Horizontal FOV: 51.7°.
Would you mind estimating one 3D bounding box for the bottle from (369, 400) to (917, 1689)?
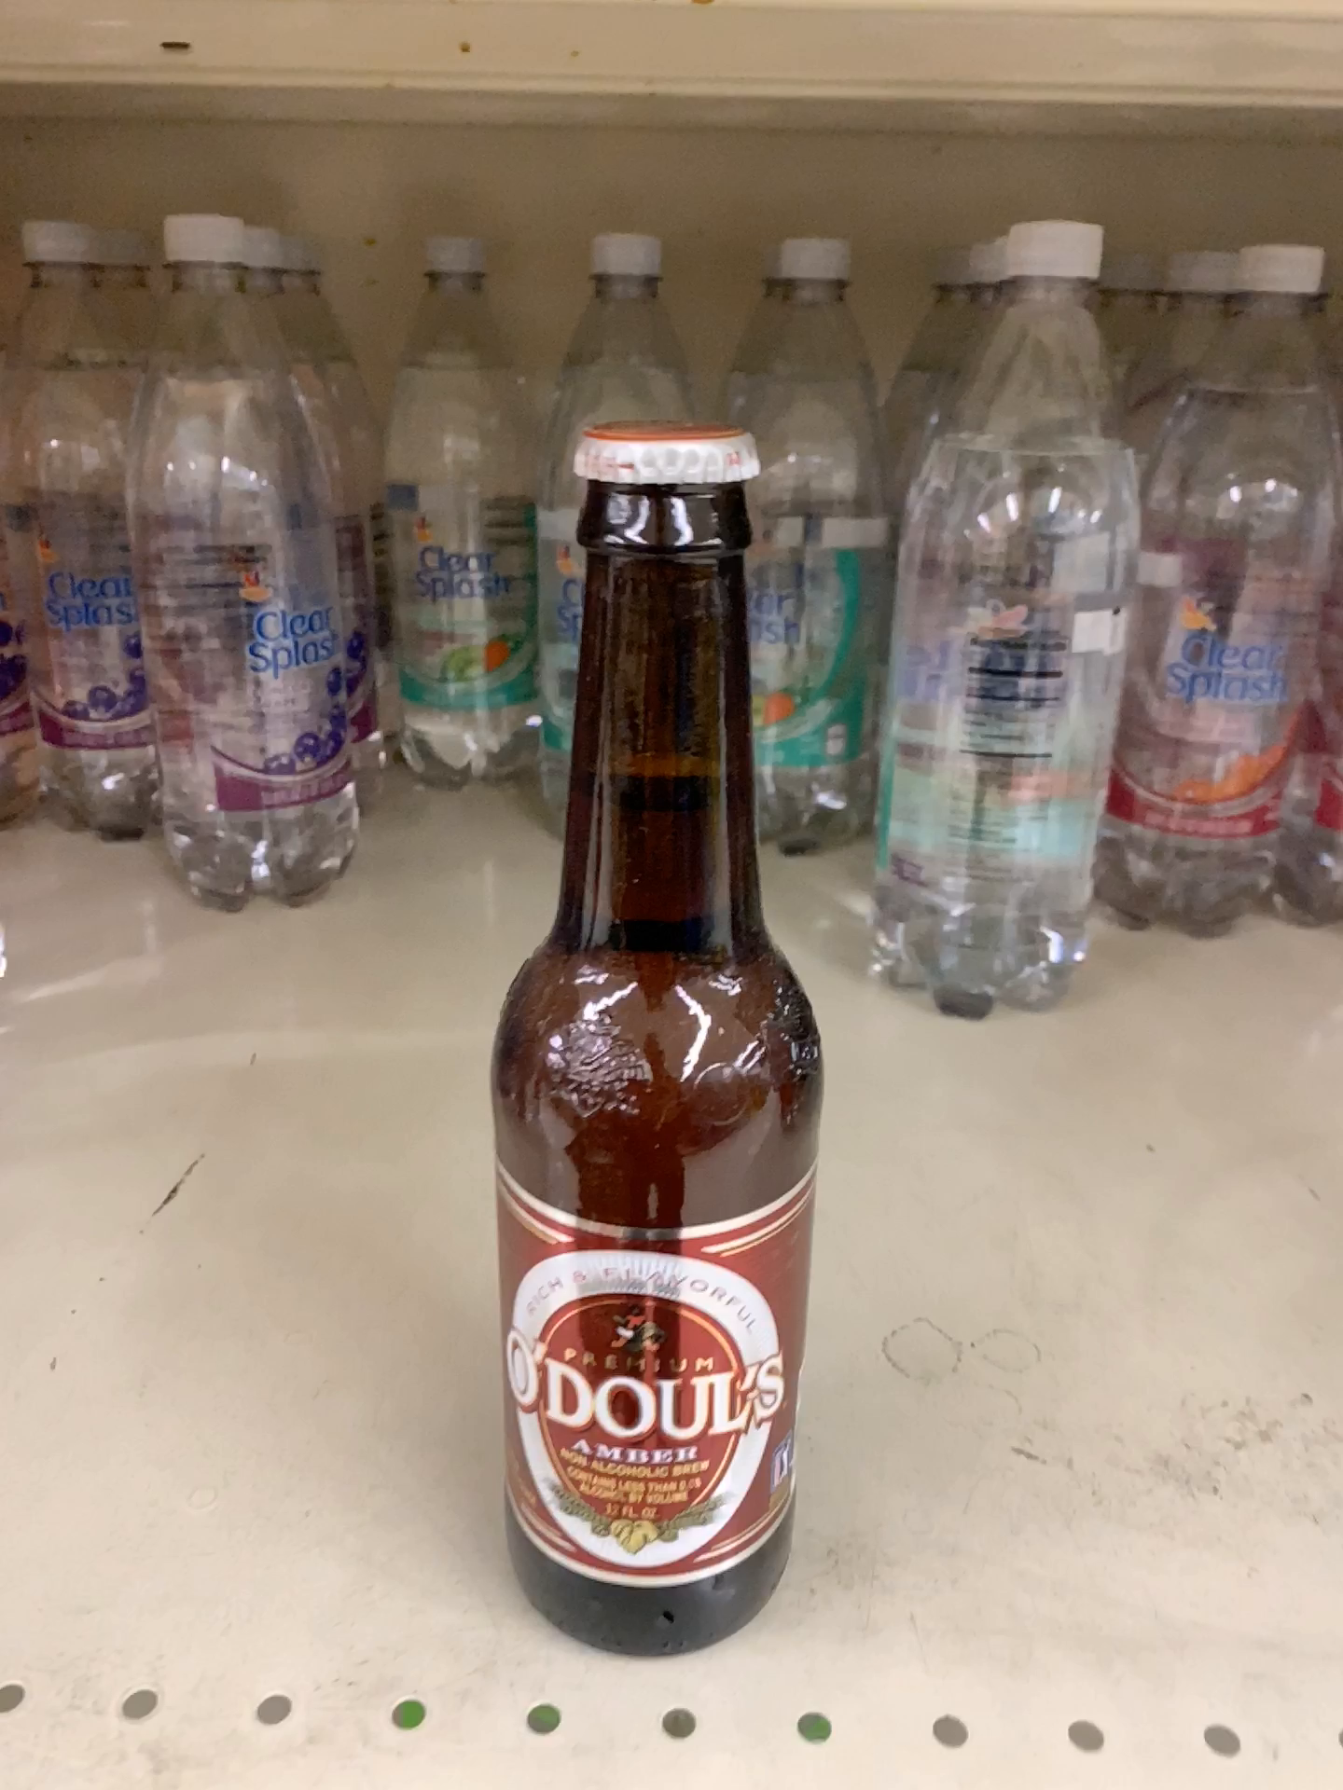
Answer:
[{"bbox_3d":[-0.001,0.030,0.251,0.070,0.219,0.070,1,24,0],"label":"bottle"}]
